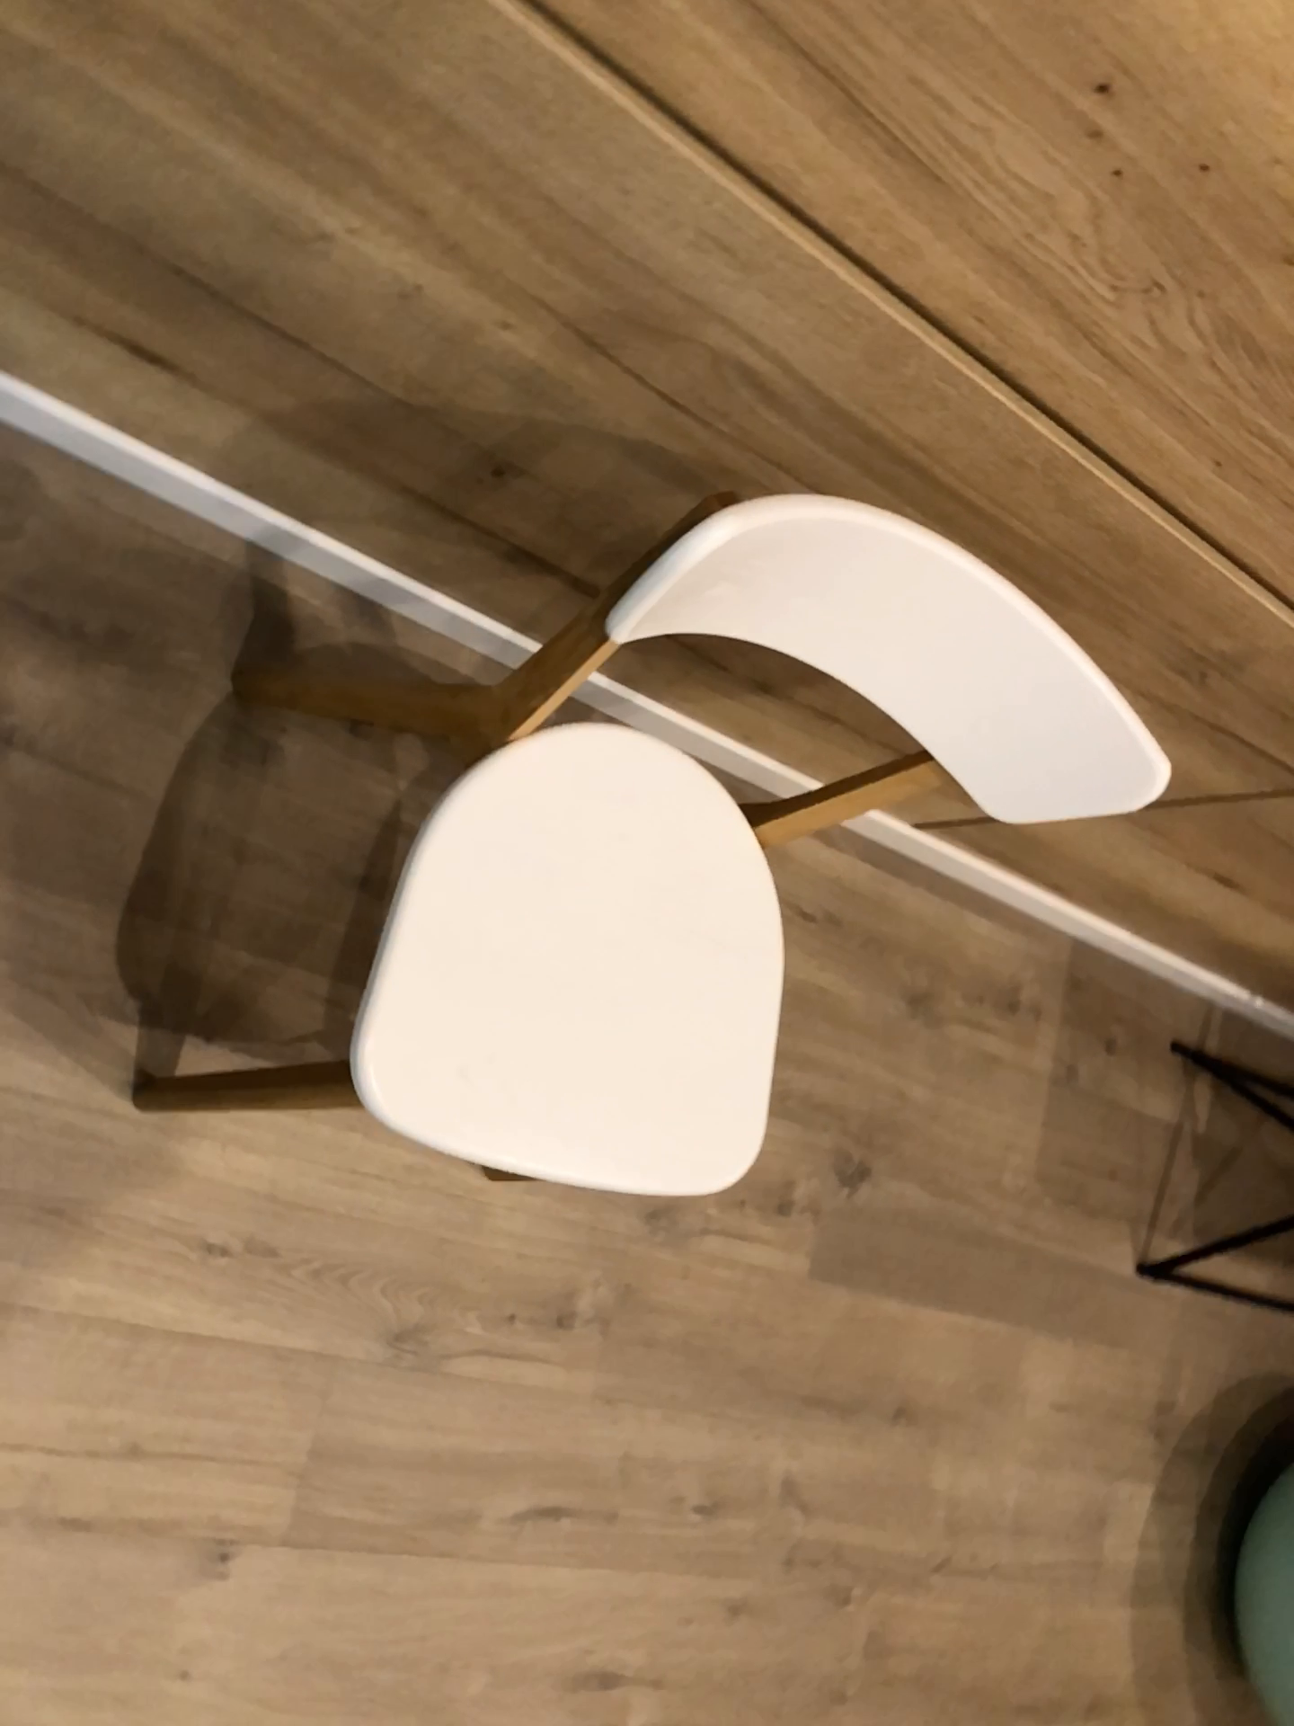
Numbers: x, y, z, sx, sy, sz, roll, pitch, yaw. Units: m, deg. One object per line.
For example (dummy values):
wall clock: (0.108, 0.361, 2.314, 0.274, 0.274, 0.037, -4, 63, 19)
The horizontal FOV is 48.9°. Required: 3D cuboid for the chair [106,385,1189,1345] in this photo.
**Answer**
chair: (-0.054, 0.051, 1.285, 0.502, 0.827, 0.530, 18, 77, -34)
